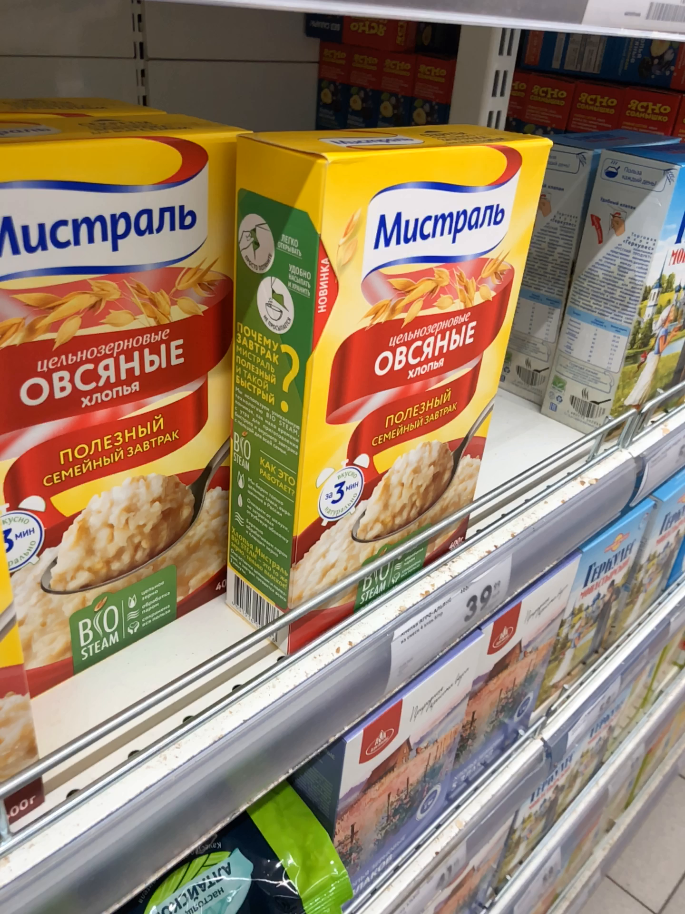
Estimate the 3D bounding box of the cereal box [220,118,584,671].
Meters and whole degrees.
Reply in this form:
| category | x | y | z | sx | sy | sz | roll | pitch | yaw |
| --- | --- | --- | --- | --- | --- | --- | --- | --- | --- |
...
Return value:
| category | x | y | z | sx | sy | sz | roll | pitch | yaw |
| --- | --- | --- | --- | --- | --- | --- | --- | --- | --- |
| cereal box | 0.023 | -0.032 | 0.336 | 0.151 | 0.209 | 0.050 | -23 | 40 | -39 |
